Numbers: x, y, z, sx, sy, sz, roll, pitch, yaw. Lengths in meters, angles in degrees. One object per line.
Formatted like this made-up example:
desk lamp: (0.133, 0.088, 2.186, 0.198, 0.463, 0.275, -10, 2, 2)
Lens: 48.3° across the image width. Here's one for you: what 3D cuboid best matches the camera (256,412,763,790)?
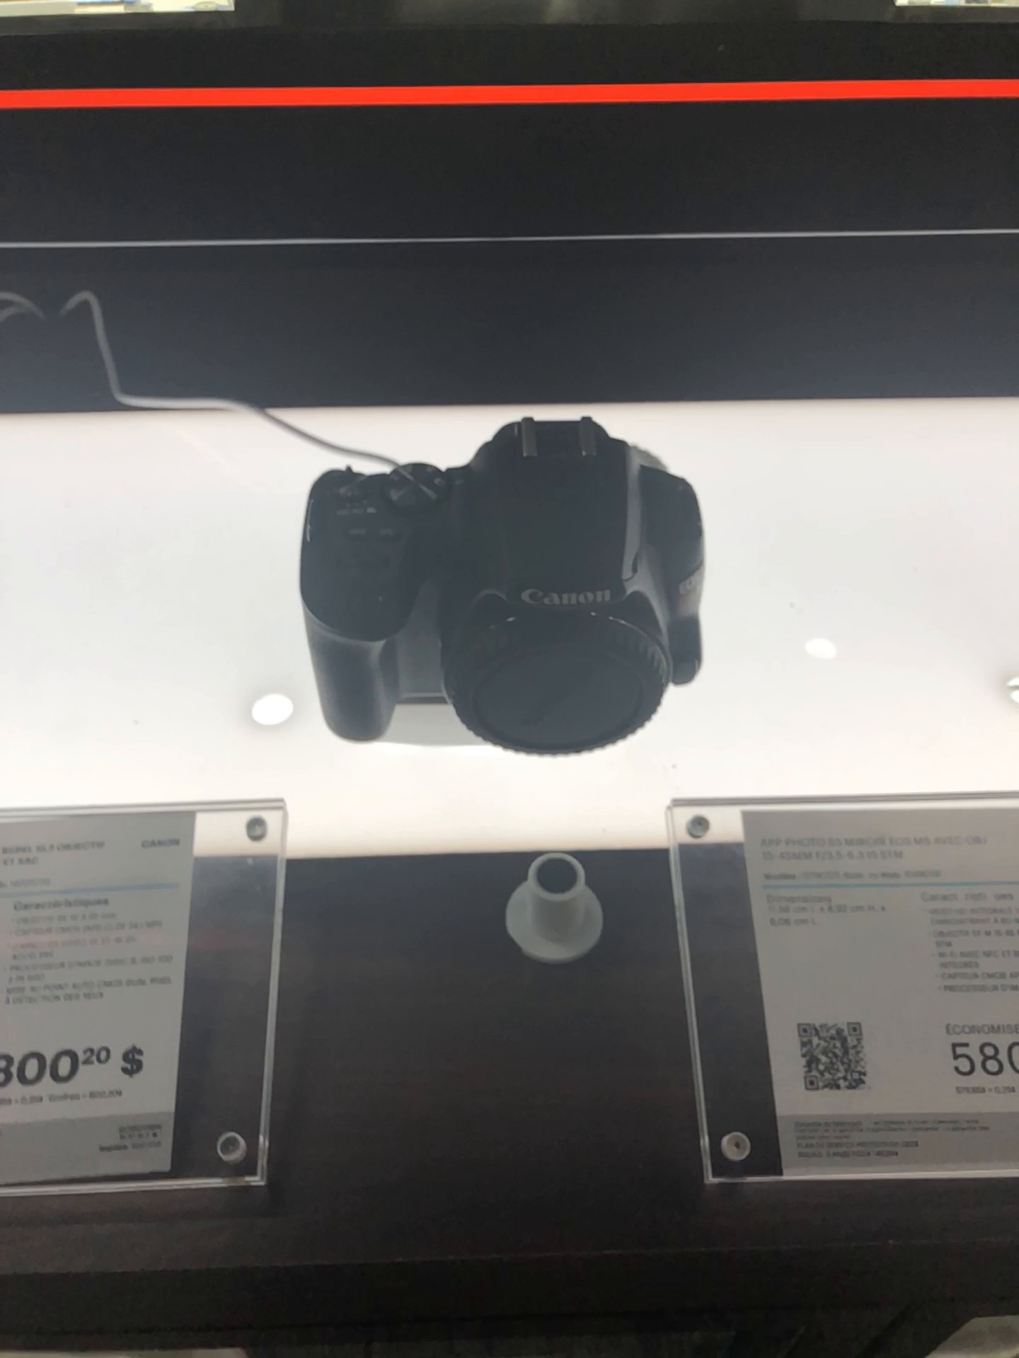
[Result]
camera: (-0.001, -0.023, 0.329, 0.123, 0.071, 0.081, -1, 47, -2)
